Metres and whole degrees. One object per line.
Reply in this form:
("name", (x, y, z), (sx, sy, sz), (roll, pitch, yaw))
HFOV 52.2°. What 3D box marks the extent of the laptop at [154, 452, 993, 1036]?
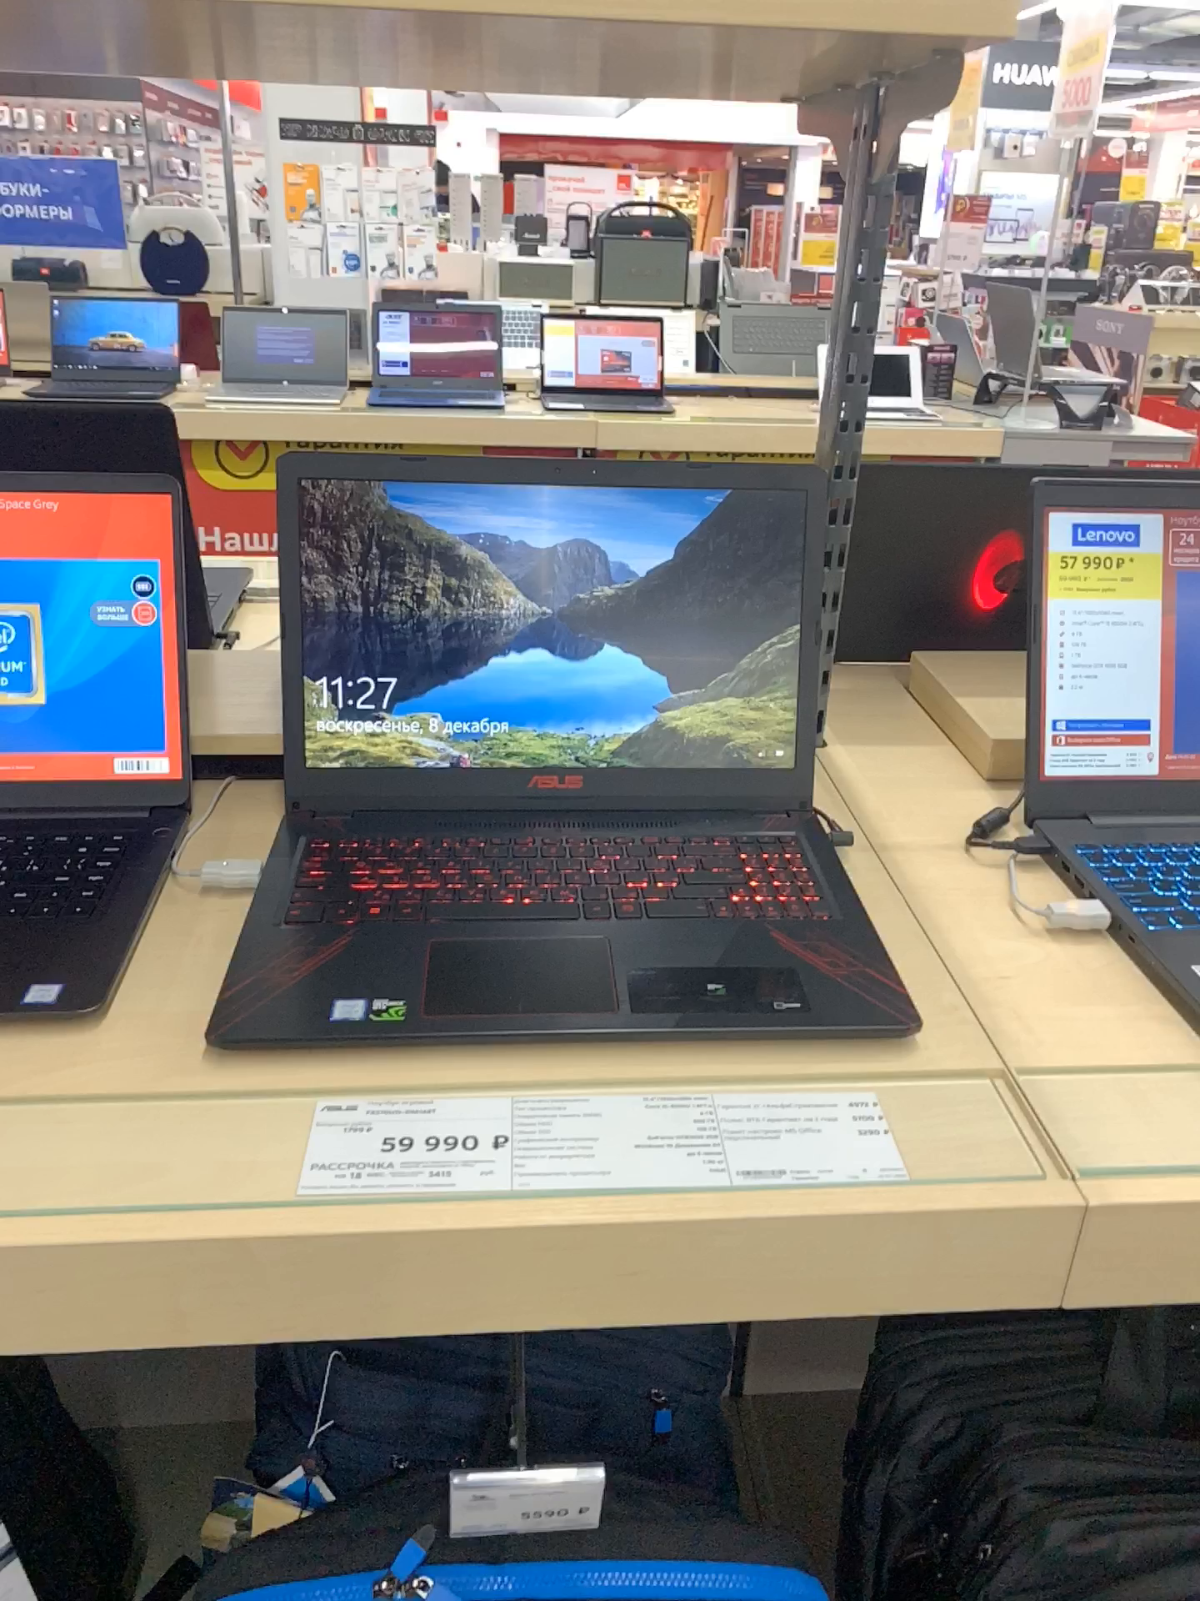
("laptop", (-0.023, -0.055, 0.723), (0.365, 0.229, 0.319), (0, 25, -5))
